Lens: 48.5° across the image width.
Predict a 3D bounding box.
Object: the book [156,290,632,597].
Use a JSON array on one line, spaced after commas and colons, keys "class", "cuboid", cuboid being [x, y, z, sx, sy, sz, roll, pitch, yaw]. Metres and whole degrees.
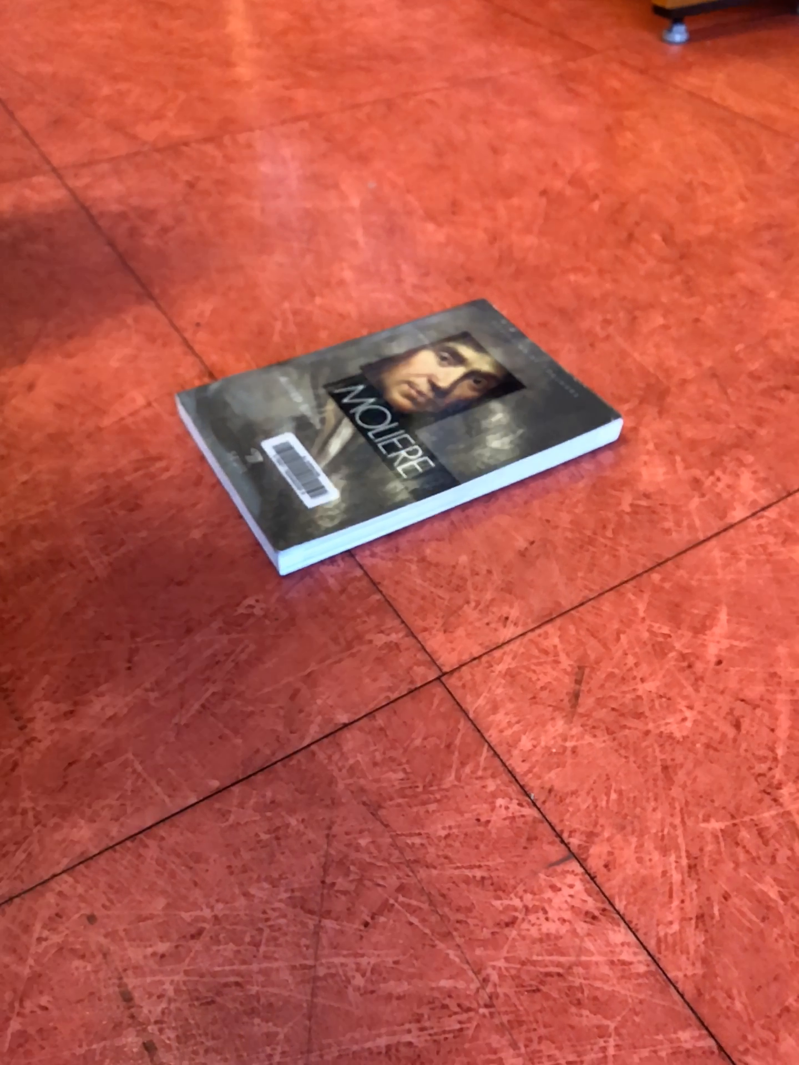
[{"class": "book", "cuboid": [-0.005, -0.054, 0.425, 0.183, 0.015, 0.134, -22, 50, -20]}]
